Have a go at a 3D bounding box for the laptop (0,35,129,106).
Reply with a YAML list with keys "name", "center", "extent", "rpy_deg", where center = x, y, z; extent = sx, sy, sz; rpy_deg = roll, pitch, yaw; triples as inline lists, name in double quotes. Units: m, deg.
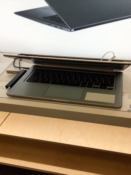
- name: "laptop"
  center: [0.010, -0.070, 0.570]
  extent: [0.357, 0.140, 0.214]
  rpy_deg: [7, 38, 10]
